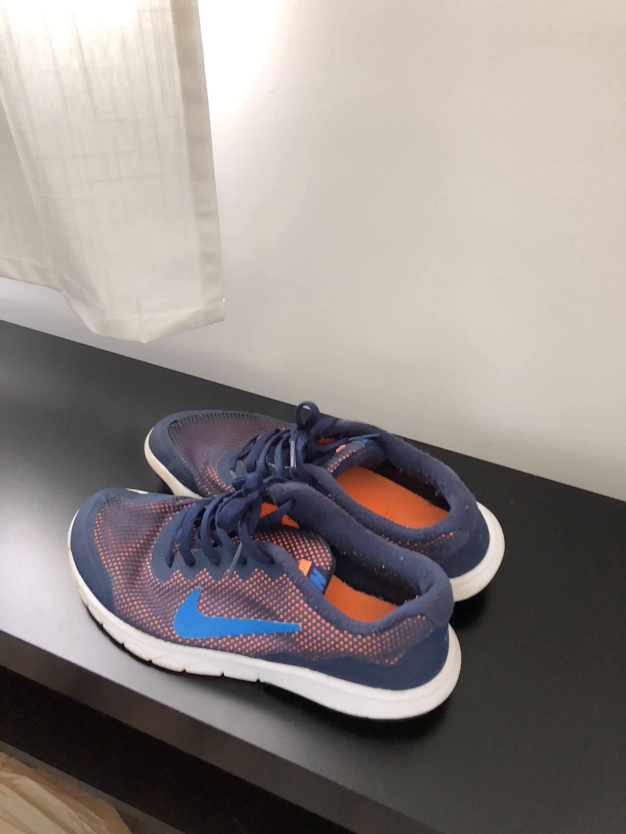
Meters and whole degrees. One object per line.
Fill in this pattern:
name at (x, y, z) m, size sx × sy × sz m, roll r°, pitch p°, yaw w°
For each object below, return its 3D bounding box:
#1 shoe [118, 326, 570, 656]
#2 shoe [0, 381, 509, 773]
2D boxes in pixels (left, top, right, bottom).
shoe at (0.015, 0.037, 0.452) m, size 0.261 × 0.089 × 0.100 m, roll 19°, pitch 44°, yaw 19°
shoe at (-0.036, 0.079, 0.397) m, size 0.260 × 0.089 × 0.120 m, roll 15°, pitch 42°, yaw 15°
